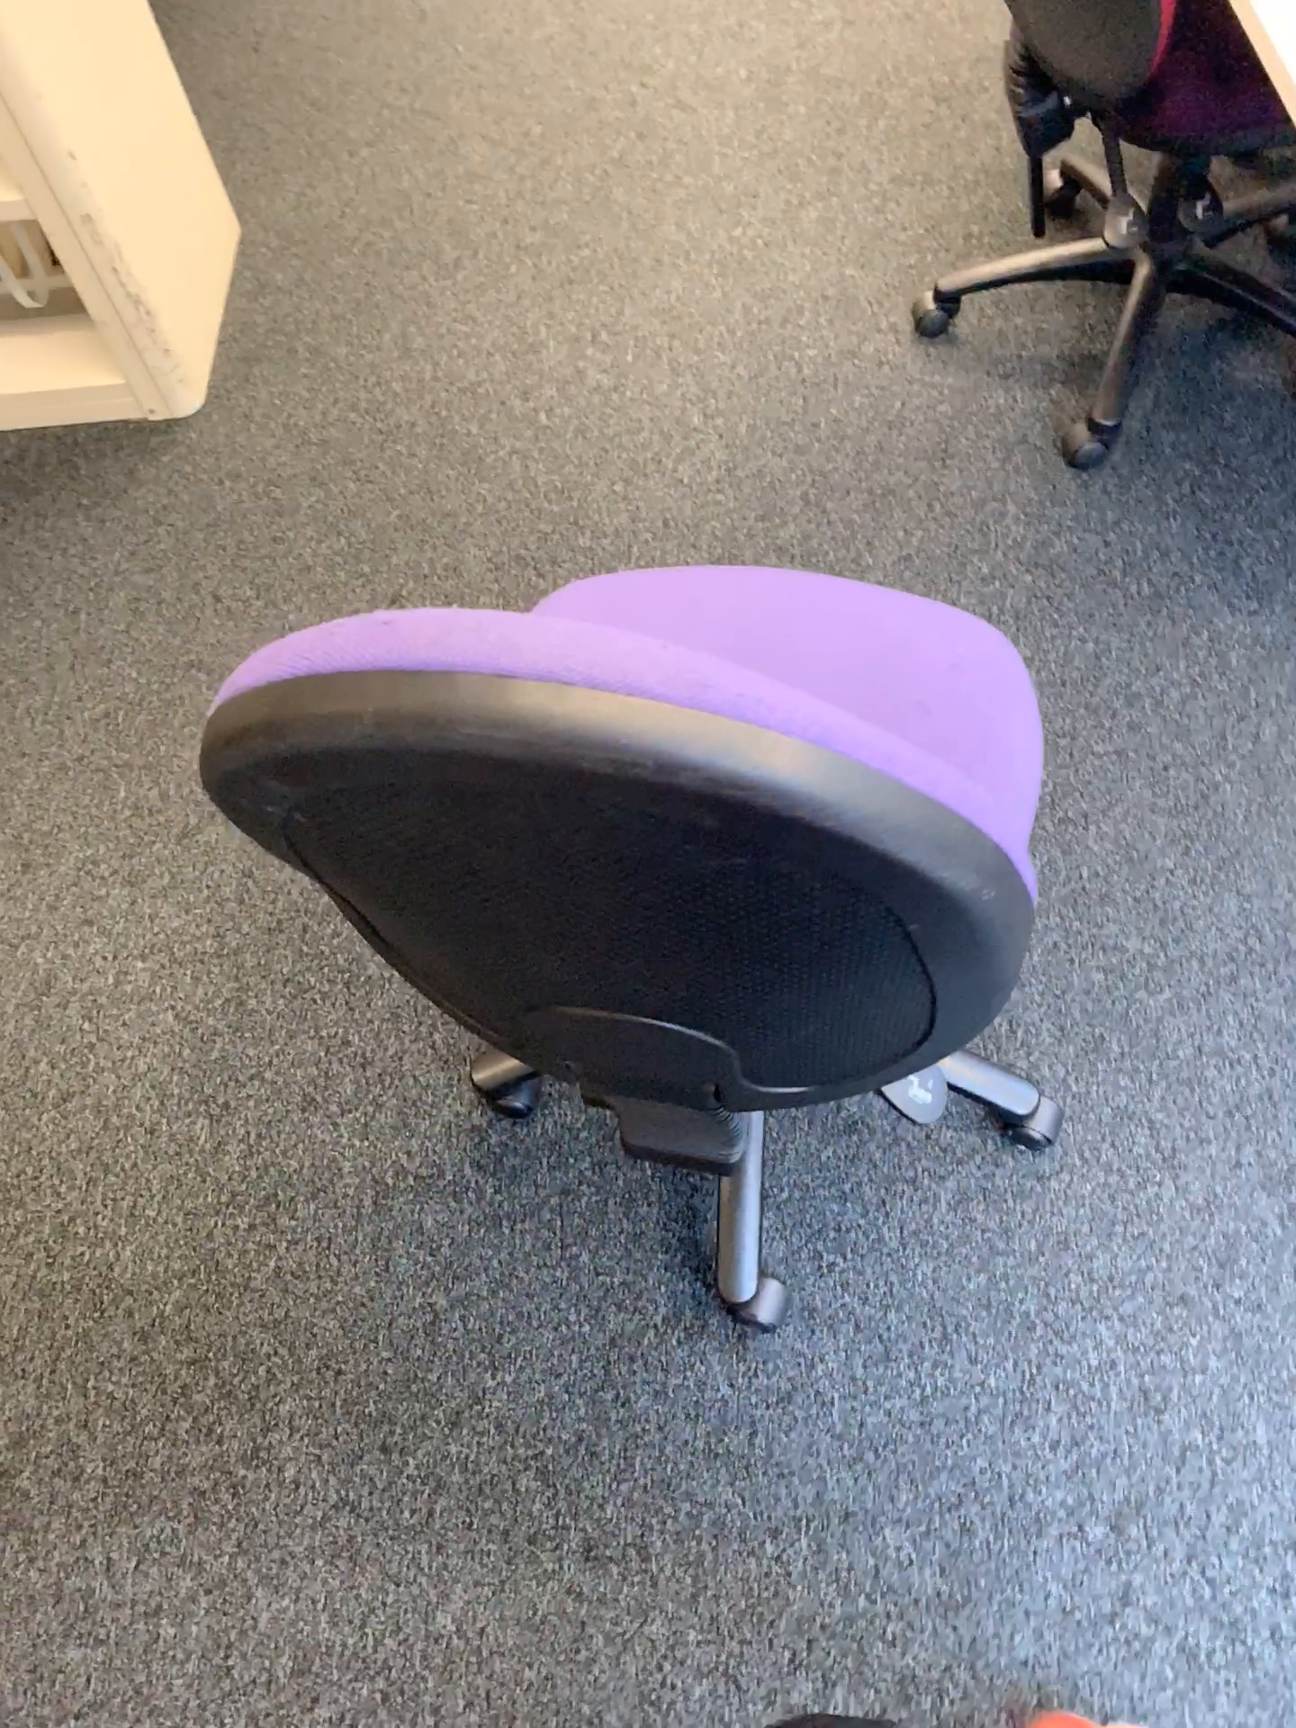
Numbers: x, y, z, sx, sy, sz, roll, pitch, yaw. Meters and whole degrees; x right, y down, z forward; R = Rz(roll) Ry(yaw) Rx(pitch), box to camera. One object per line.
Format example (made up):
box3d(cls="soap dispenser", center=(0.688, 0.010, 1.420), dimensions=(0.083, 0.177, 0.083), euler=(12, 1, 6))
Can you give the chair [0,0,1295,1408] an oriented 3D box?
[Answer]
box3d(cls="chair", center=(0.089, -0.049, 1.010), dimensions=(0.669, 0.986, 0.638), euler=(7, 62, 11))
